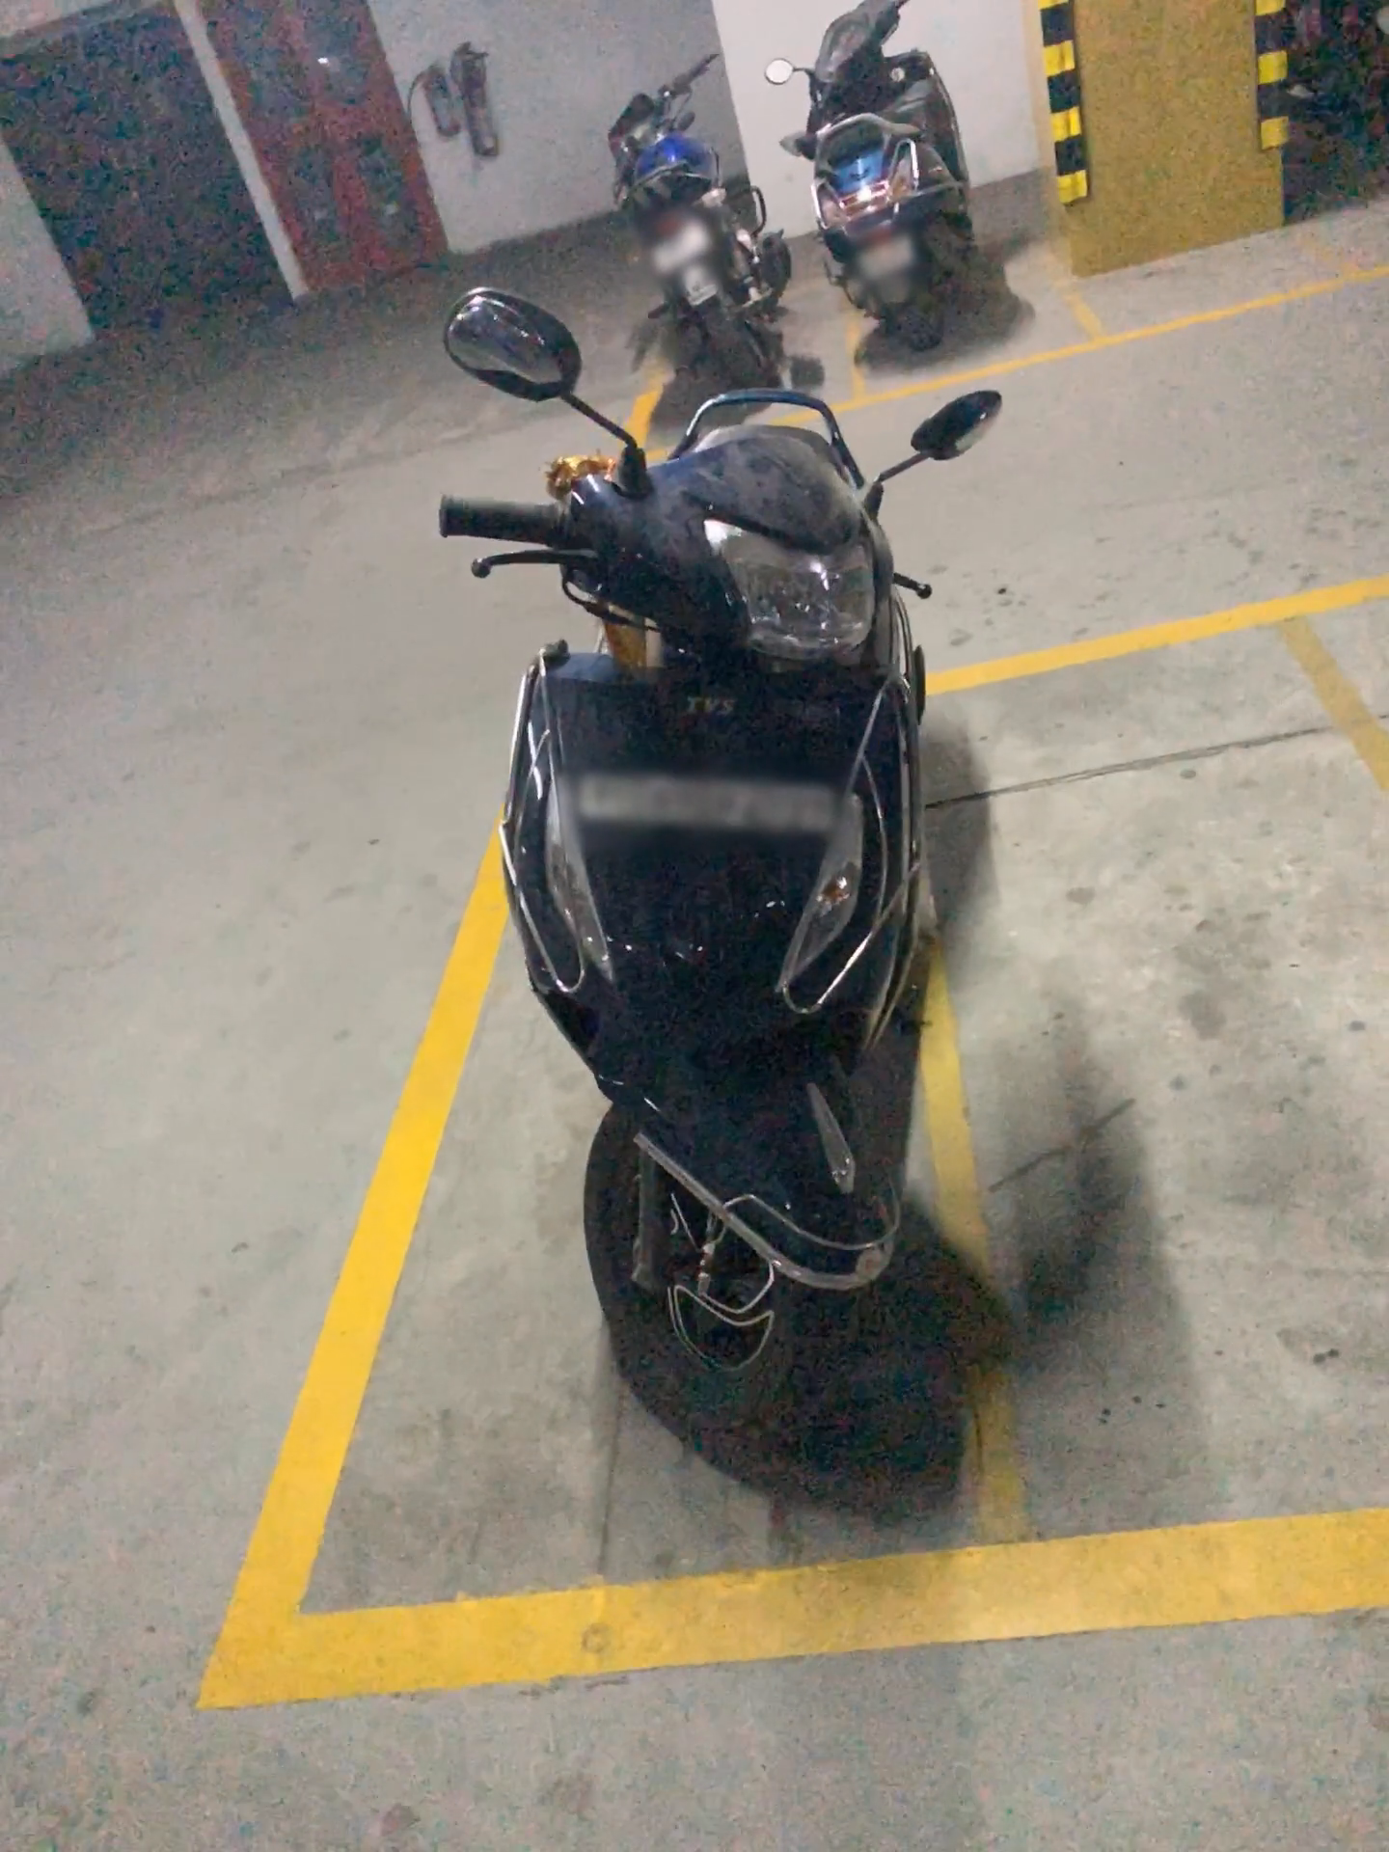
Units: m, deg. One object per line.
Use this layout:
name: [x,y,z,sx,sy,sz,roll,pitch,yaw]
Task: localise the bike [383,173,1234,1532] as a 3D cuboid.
bike: [0.149,-0.270,2.096,0.664,1.028,1.702,-13,37,7]
